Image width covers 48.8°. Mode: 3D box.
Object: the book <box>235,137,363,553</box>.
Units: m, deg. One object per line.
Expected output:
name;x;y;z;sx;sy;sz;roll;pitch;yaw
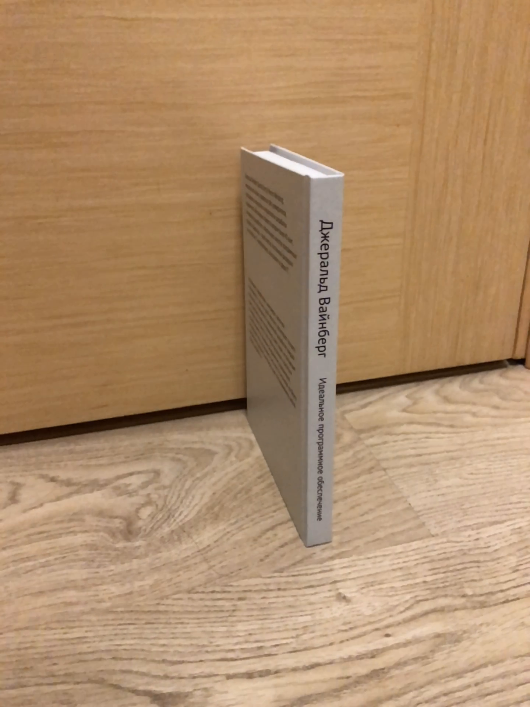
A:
book;0.012;-0.017;0.362;0.023;0.209;0.163;-6;24;-13
